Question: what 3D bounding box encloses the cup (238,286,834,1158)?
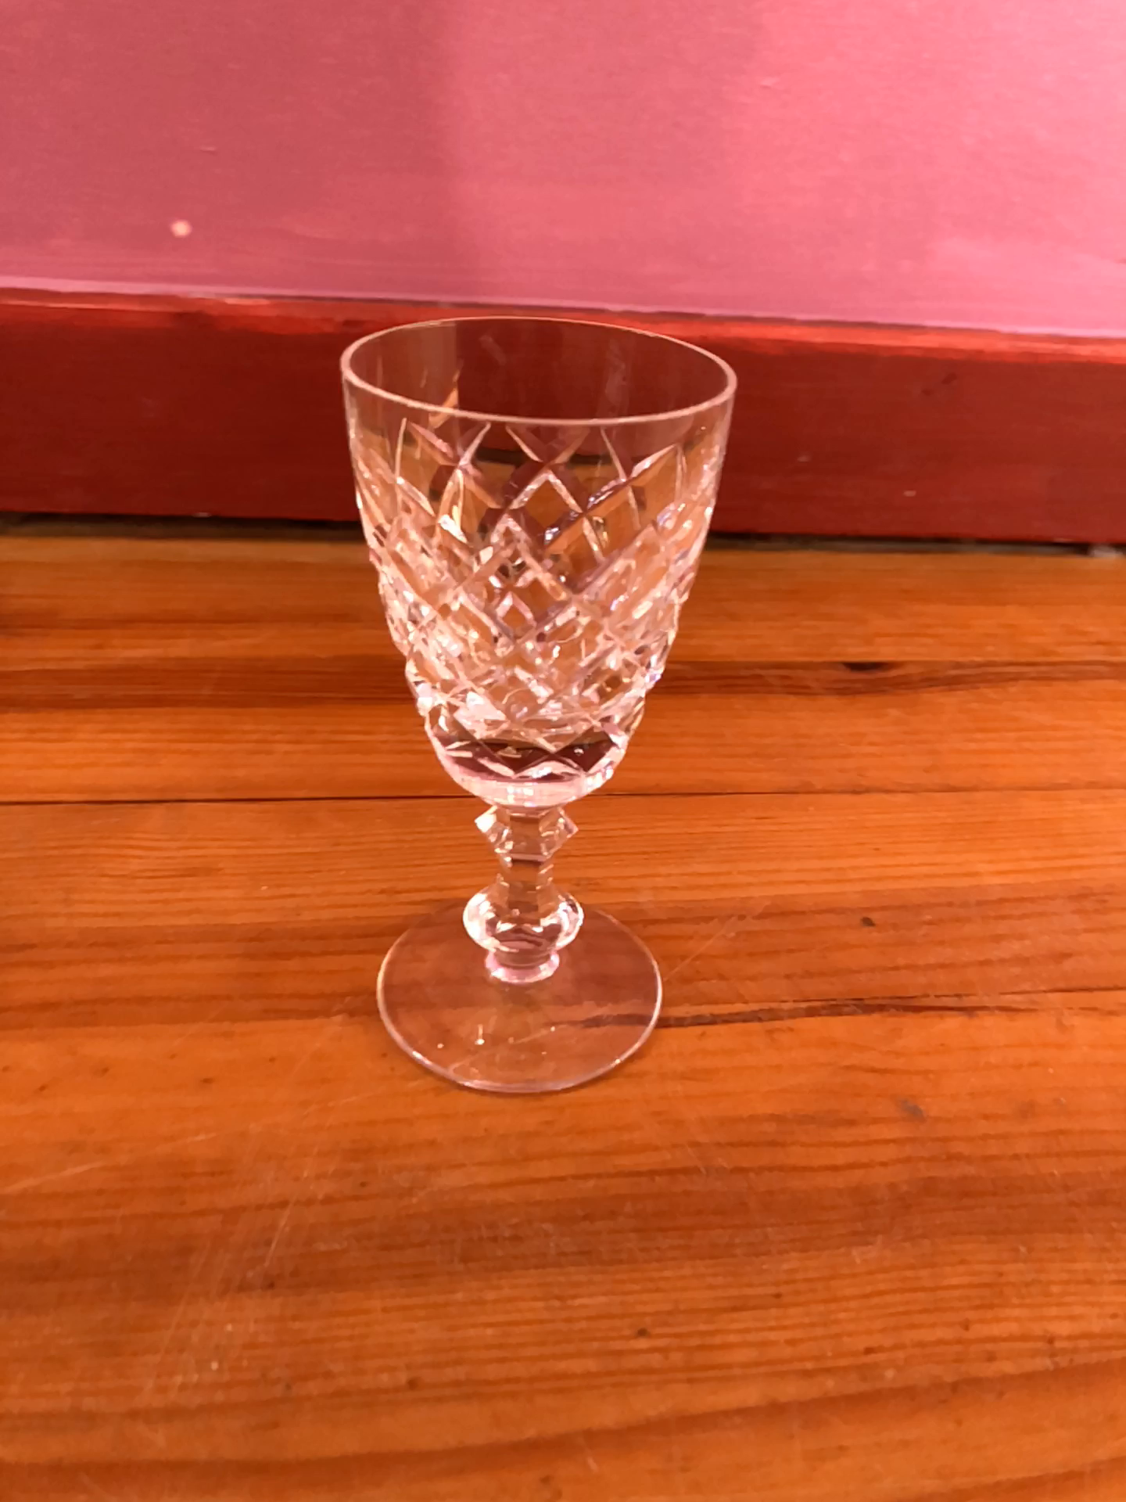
[{"bbox_3d":[-0.006,-0.007,0.200,0.059,0.113,0.057,2,30,-1],"label":"cup"}]
